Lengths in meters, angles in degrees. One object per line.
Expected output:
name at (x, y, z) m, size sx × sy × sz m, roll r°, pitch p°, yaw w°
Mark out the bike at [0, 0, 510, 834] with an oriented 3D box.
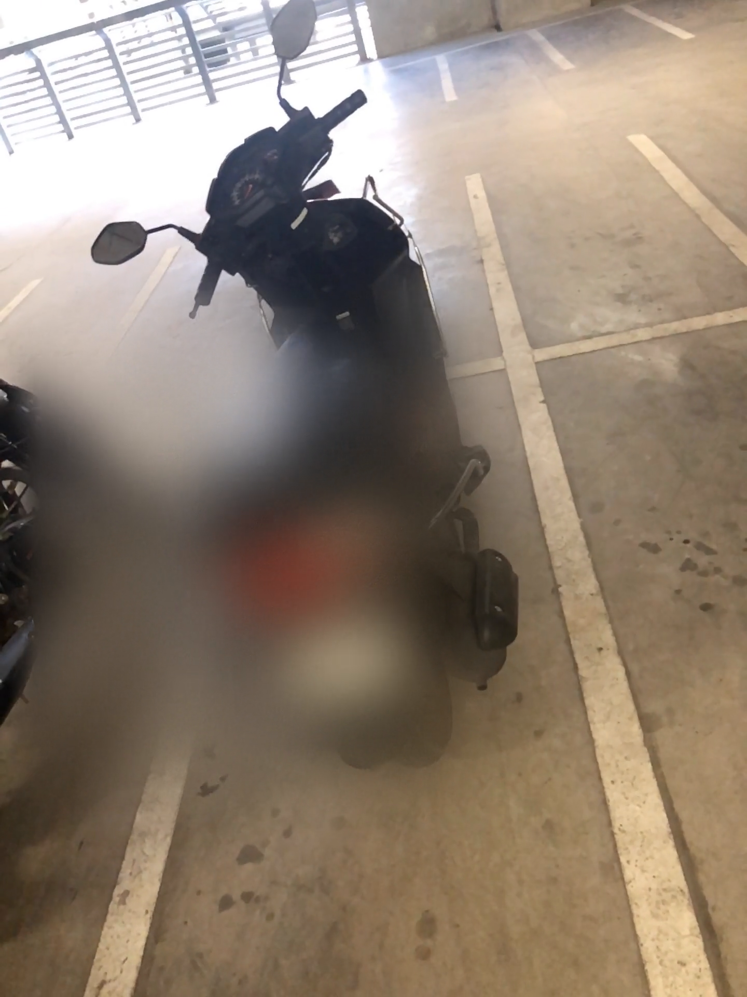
bike at (-0.193, -0.443, 2.160) m, size 0.582 × 1.187 × 1.961 m, roll -12°, pitch 39°, yaw 7°
